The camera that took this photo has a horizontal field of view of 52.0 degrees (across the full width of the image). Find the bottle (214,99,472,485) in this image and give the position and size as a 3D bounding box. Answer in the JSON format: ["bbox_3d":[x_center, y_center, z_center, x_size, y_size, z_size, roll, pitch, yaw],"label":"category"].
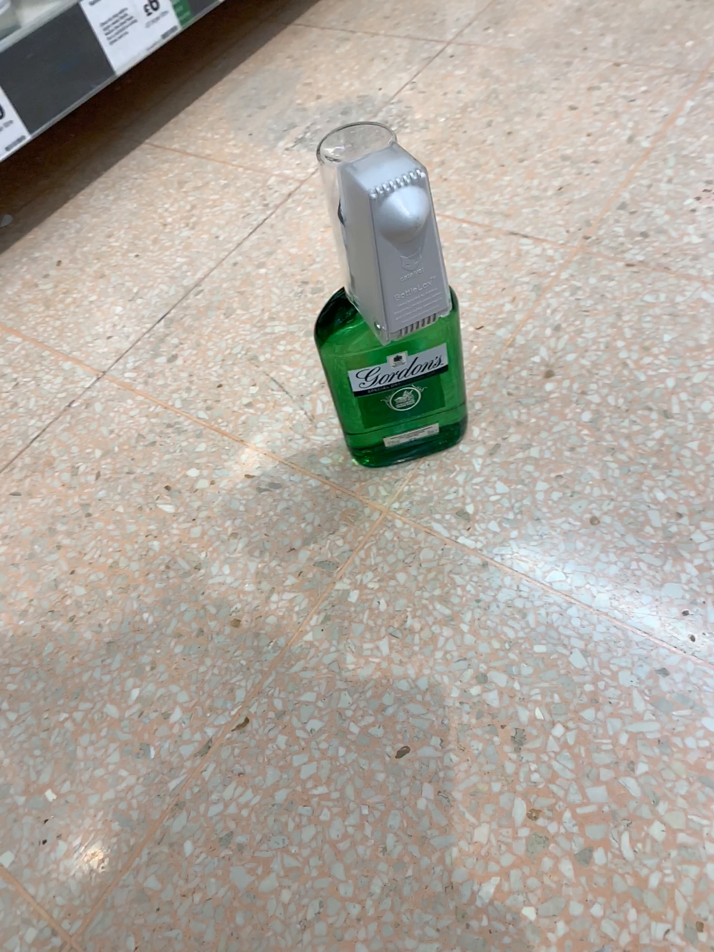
[{"bbox_3d":[0.003,-0.089,0.421,0.102,0.203,0.056,-16,52,1],"label":"bottle"}]
